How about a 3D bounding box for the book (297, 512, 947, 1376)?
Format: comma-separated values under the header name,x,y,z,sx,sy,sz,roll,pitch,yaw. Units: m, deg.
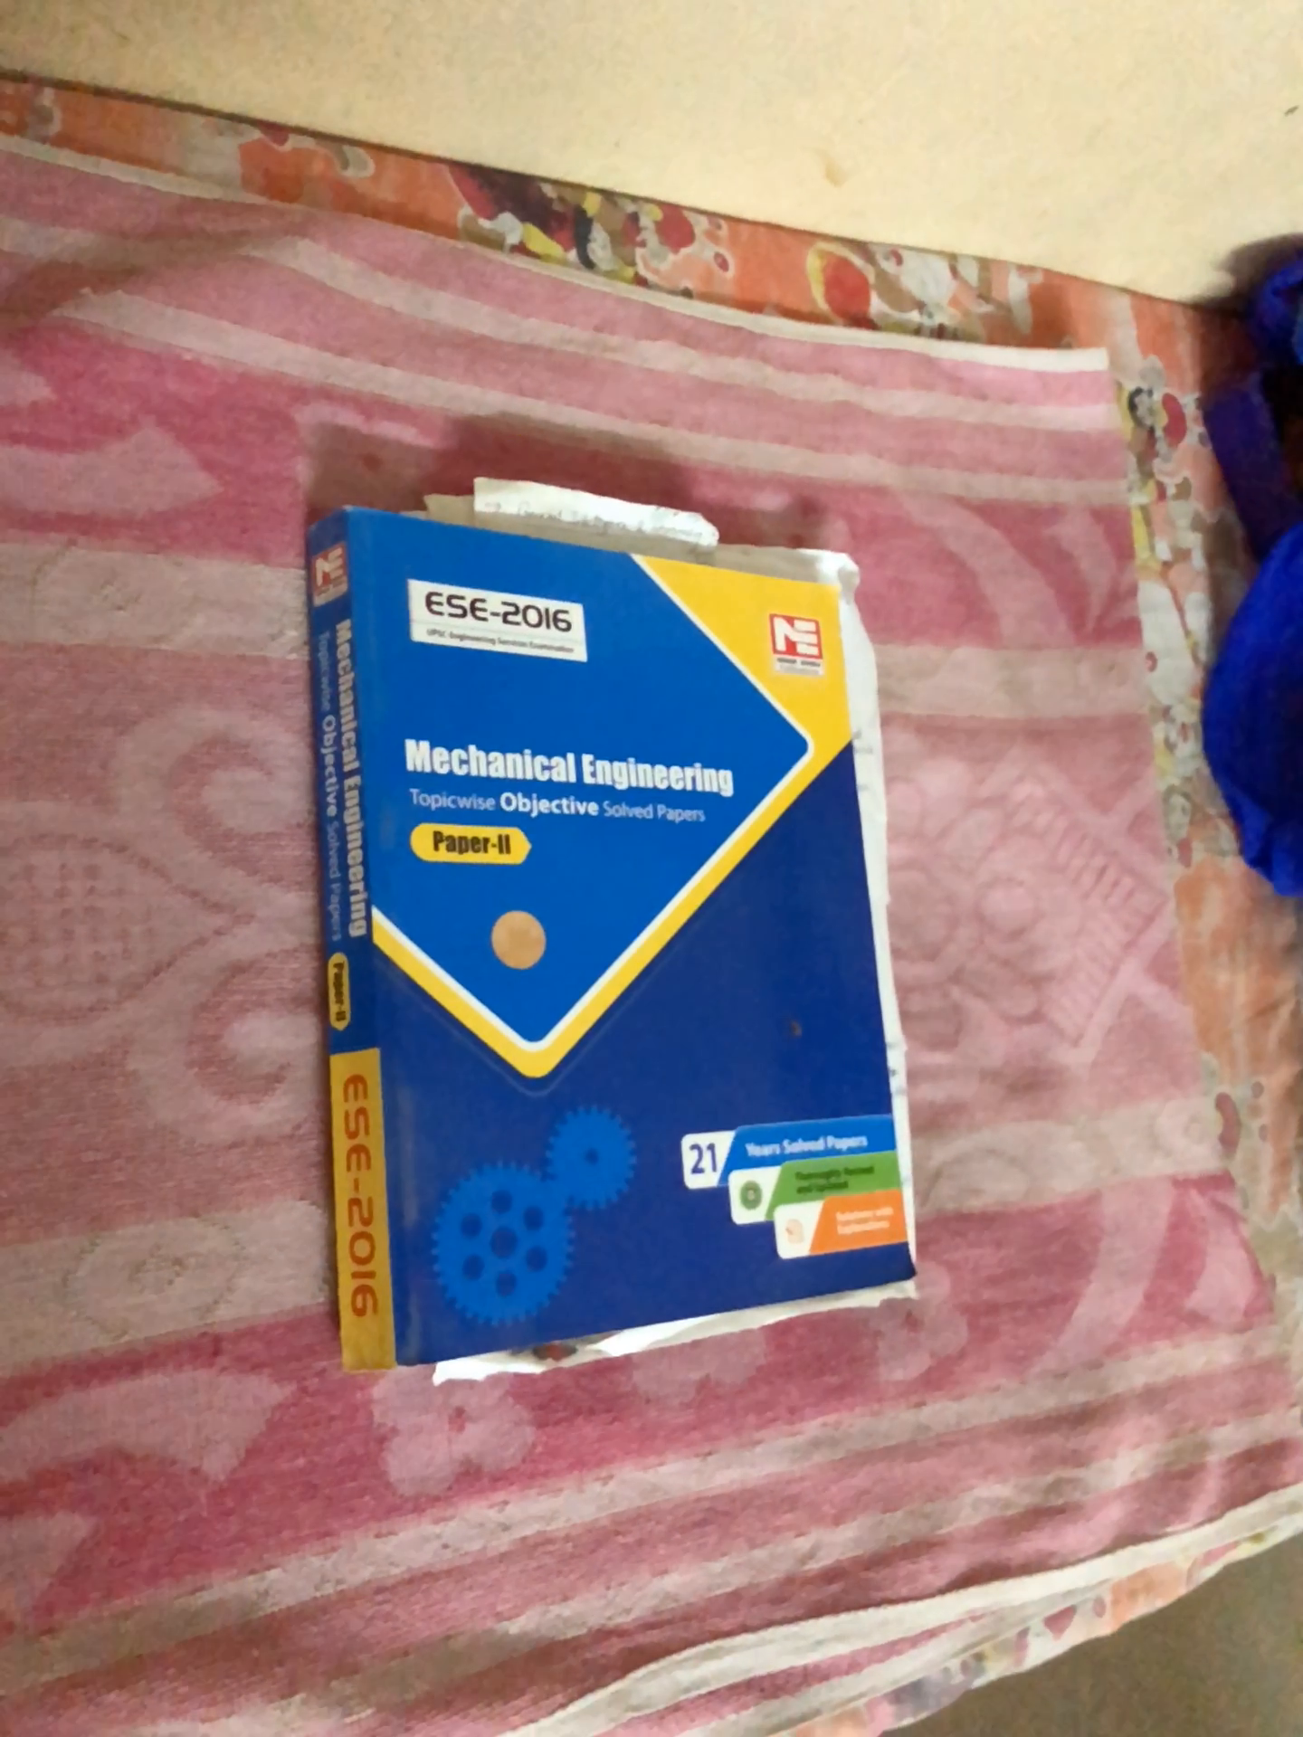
name,x,y,z,sx,sy,sz,roll,pitch,yaw
book,-0.009,0.023,0.527,0.216,0.055,0.270,1,78,-31
